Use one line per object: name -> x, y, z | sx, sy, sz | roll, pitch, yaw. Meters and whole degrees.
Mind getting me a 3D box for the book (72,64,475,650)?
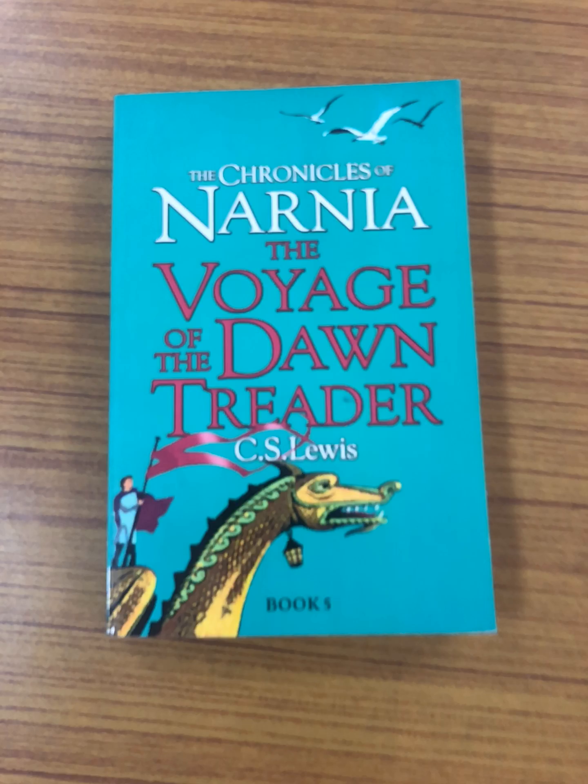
book -> -0.010, -0.016, 0.243 | 0.130, 0.030, 0.200 | -2, 82, 0
